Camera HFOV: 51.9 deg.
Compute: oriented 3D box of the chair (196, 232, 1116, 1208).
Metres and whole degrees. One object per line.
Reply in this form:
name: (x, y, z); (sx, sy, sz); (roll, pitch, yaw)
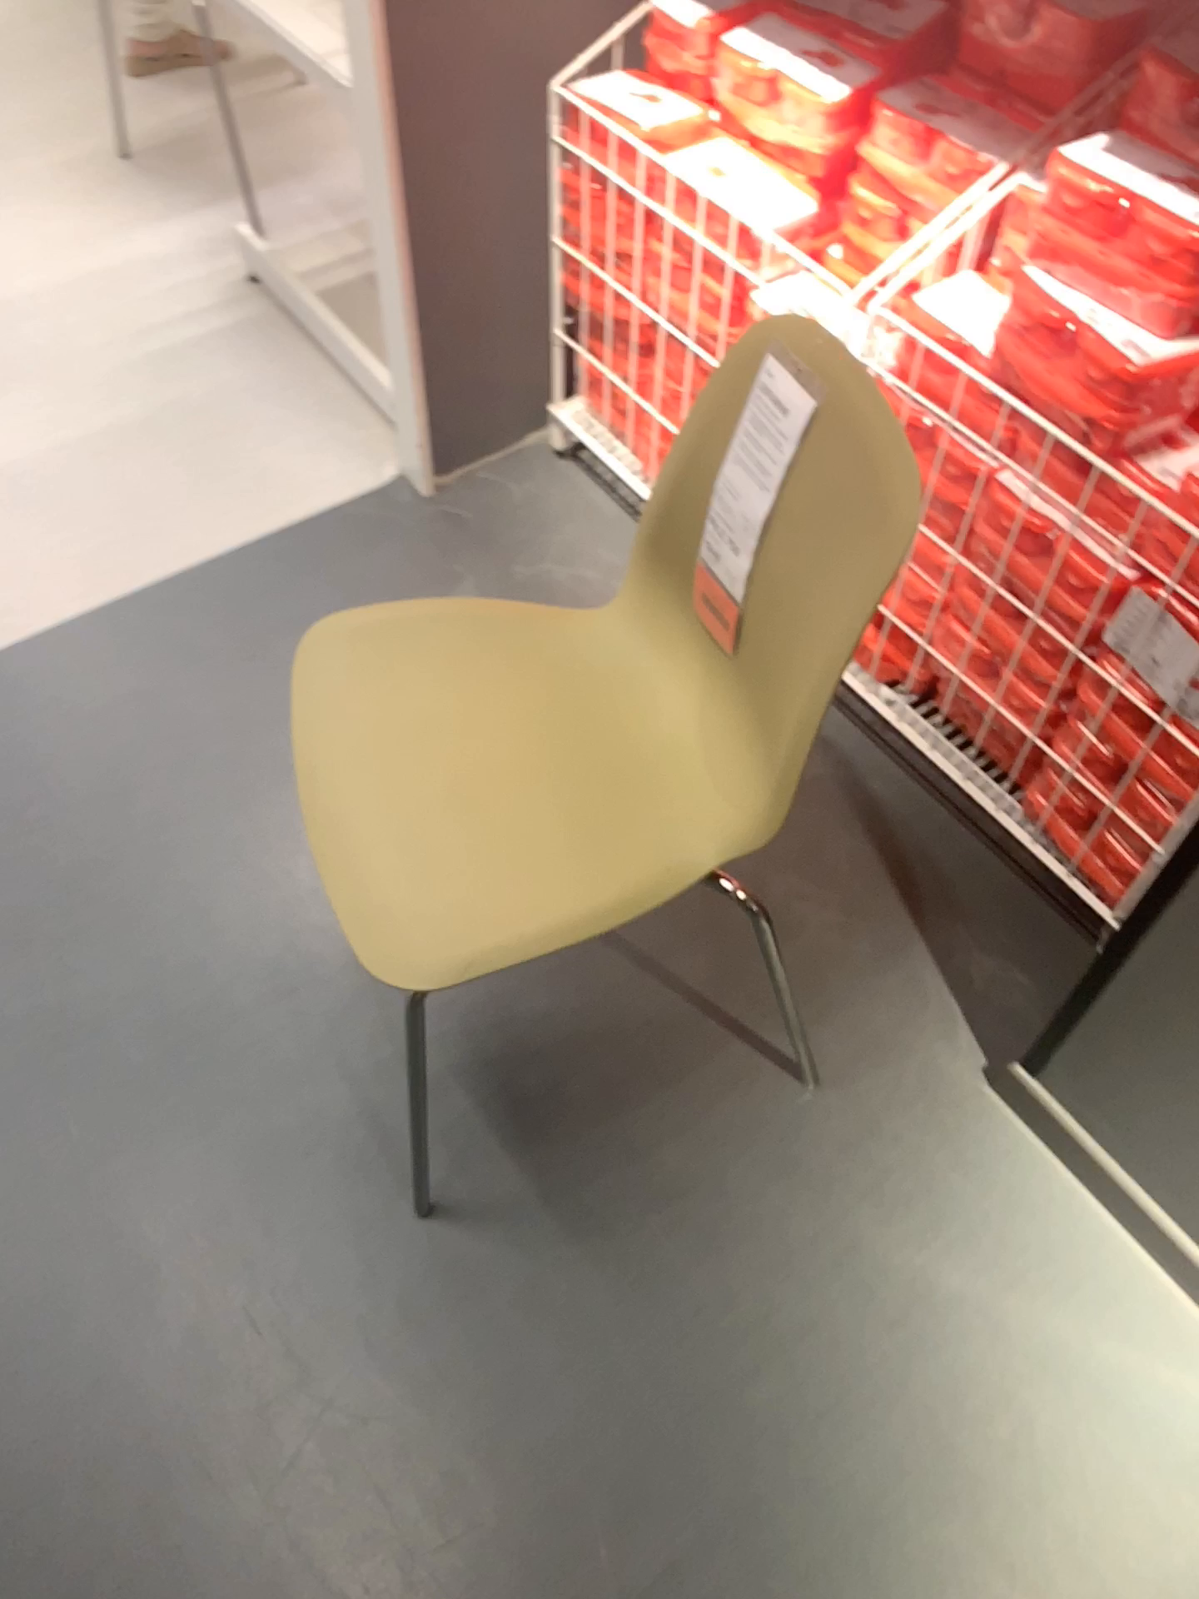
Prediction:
chair: (-0.002, -0.036, 1.194); (0.550, 0.728, 0.501); (-12, 55, -10)
